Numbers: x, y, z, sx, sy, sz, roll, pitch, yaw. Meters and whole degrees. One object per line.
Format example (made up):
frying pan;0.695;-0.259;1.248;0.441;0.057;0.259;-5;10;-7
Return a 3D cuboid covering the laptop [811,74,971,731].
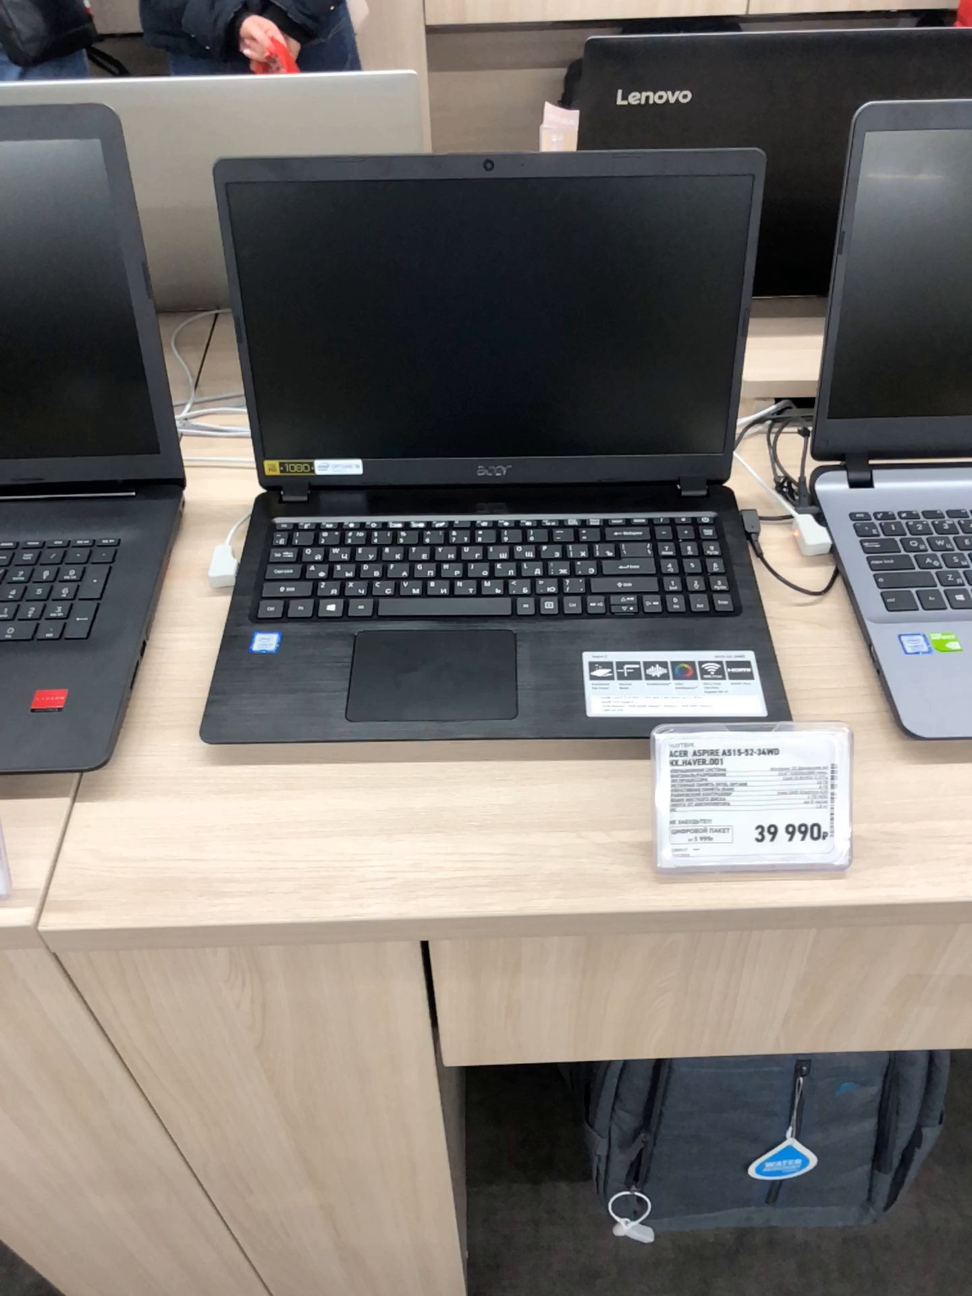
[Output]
laptop;0.415;-0.155;0.647;0.326;0.219;0.326;-1;48;2

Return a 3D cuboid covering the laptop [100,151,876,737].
laptop;0.001;-0.131;0.656;0.346;0.219;0.292;-1;46;1

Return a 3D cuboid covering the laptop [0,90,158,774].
laptop;-0.422;-0.140;0.641;0.353;0.226;0.346;-2;48;-4
